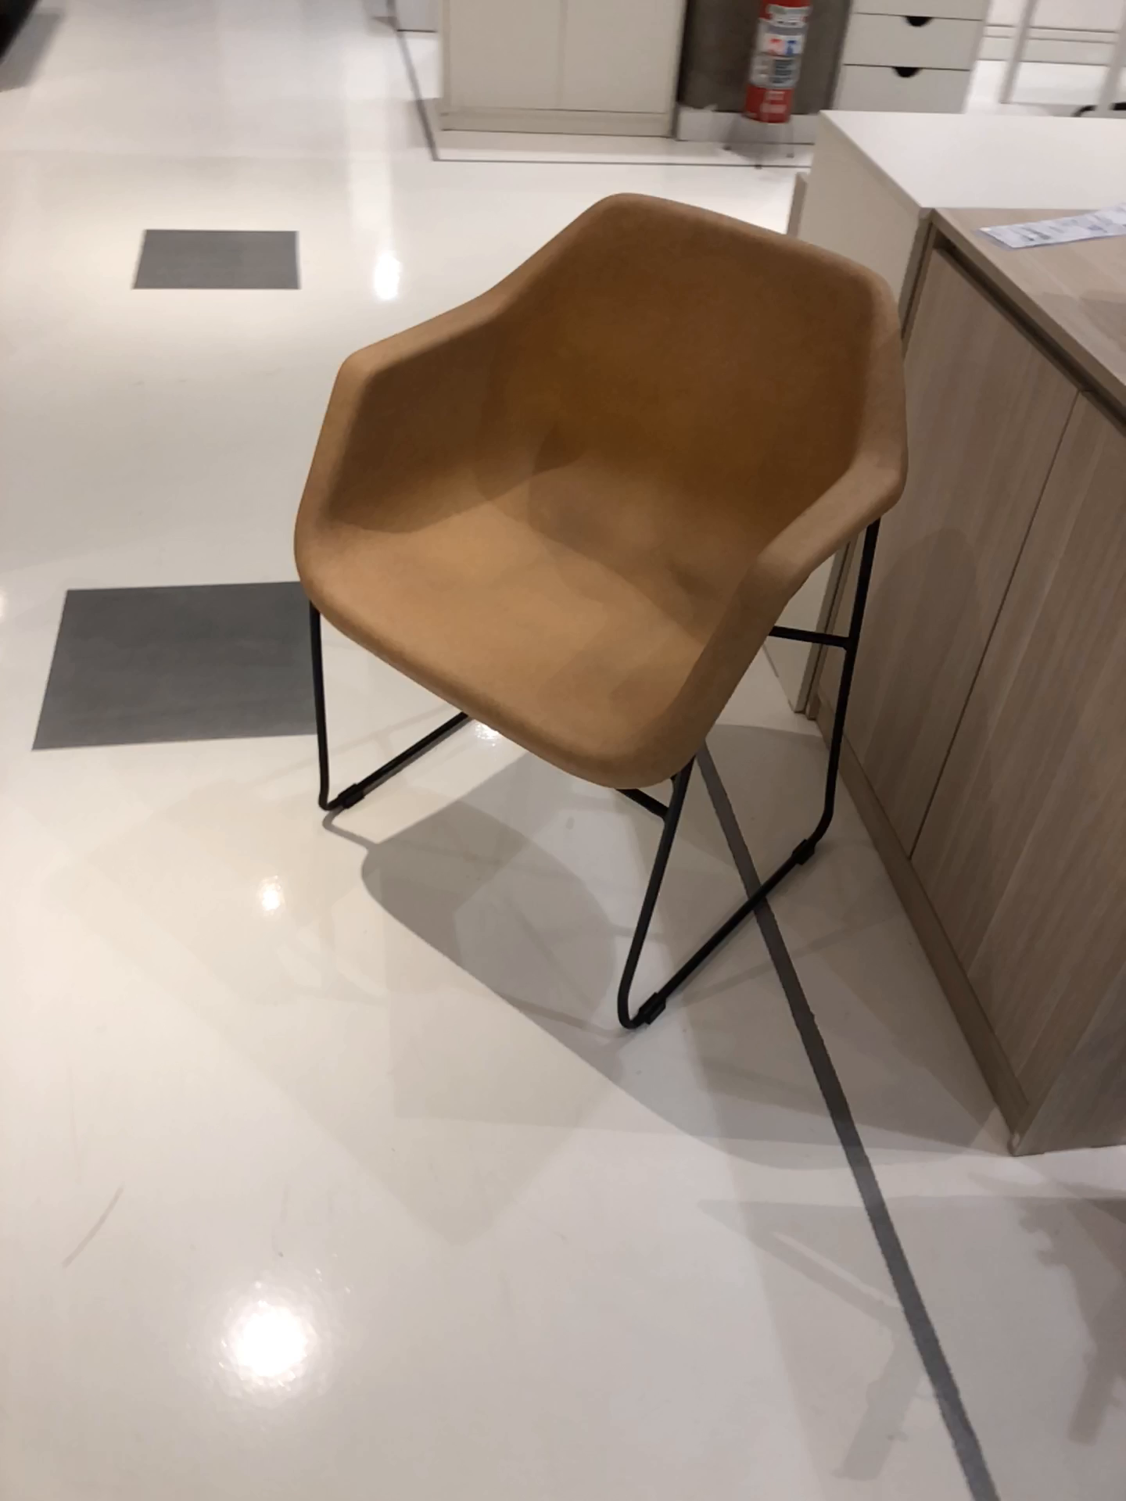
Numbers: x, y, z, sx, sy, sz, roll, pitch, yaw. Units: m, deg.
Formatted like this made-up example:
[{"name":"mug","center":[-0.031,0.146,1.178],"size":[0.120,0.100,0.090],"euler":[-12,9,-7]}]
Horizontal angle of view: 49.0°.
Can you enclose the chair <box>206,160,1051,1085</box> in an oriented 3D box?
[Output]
[{"name":"chair","center":[0.056,-0.175,1.414],"size":[0.591,0.705,0.573],"euler":[30,47,26]}]
